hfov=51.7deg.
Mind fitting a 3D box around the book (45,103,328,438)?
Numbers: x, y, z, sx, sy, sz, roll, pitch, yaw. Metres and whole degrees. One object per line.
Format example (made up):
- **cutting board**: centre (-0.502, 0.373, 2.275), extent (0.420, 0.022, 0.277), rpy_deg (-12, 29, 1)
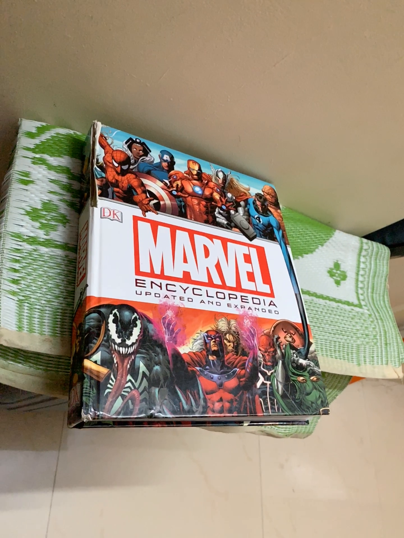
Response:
- **book**: centre (-0.011, -0.001, 0.437), extent (0.261, 0.040, 0.321), rpy_deg (12, 57, -30)
